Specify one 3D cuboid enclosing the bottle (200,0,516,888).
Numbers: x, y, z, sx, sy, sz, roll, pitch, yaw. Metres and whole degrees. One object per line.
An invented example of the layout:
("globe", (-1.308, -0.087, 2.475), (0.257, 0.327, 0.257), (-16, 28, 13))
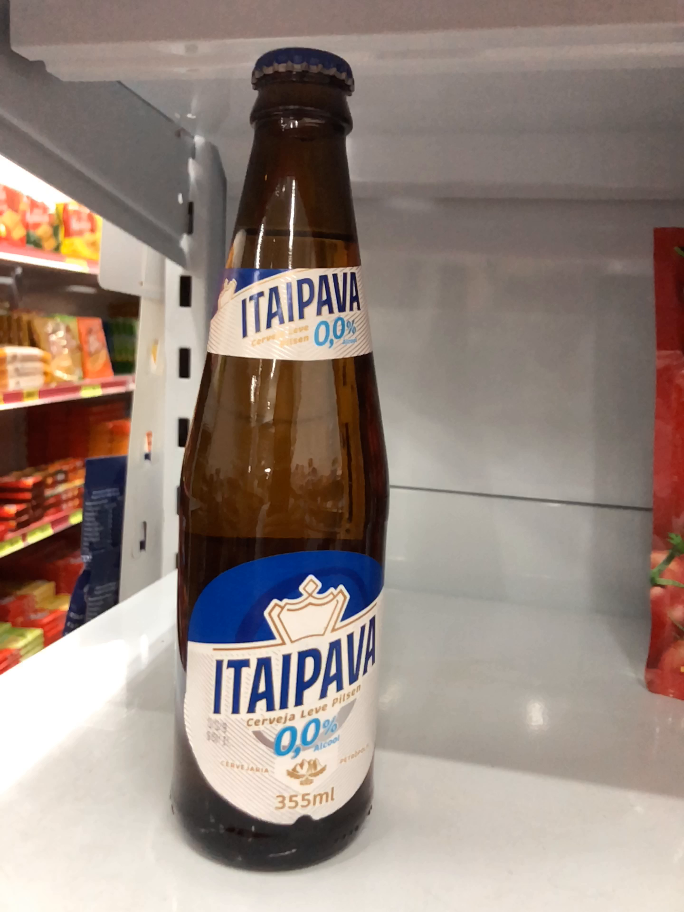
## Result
("bottle", (-0.003, -0.007, 0.201), (0.060, 0.209, 0.060), (2, 8, 0))
